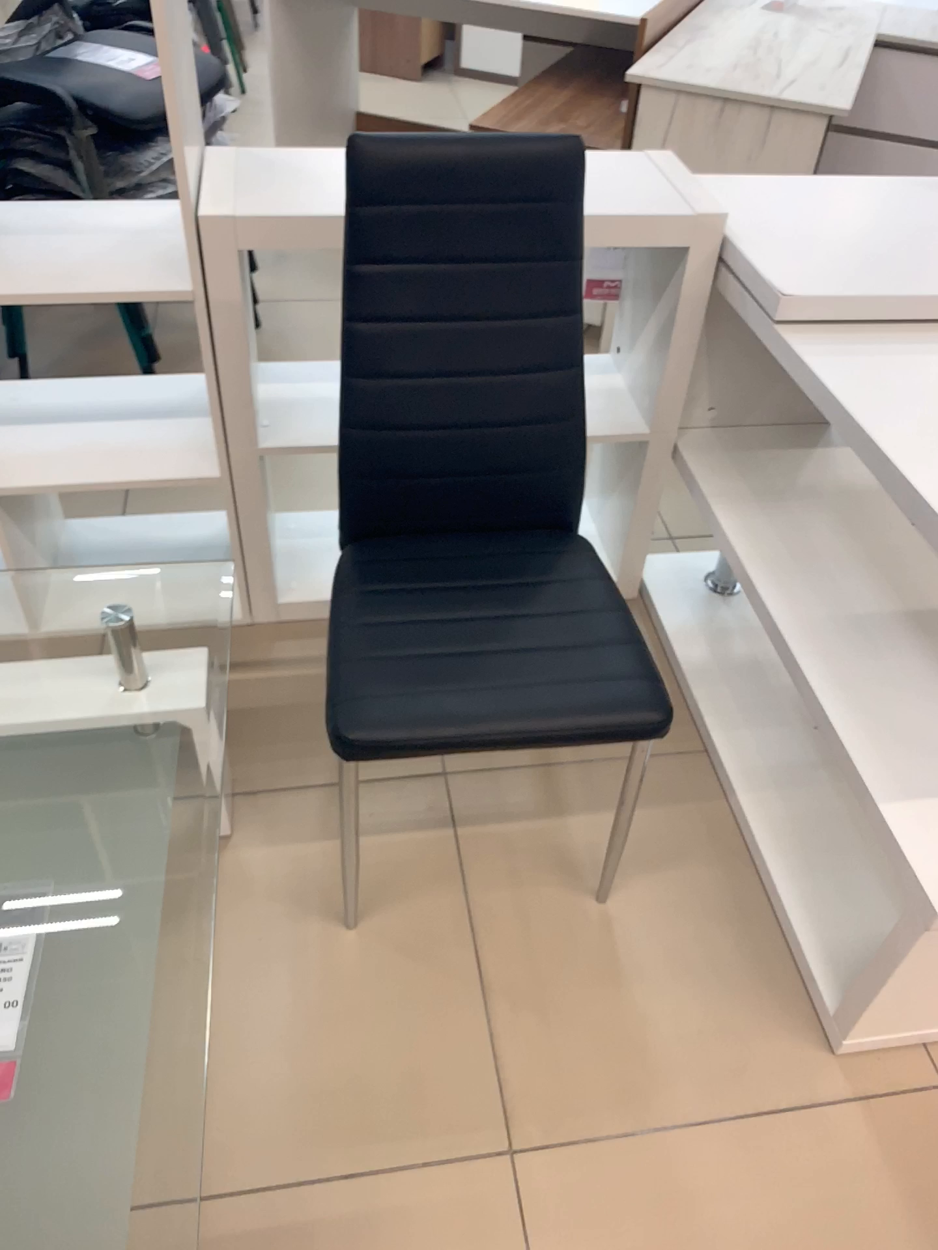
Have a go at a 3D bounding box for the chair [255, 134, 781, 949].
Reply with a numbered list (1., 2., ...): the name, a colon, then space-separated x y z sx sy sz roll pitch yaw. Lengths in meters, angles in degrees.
1. chair: -0.005 -0.089 1.322 0.440 0.916 0.603 -3 42 -6
